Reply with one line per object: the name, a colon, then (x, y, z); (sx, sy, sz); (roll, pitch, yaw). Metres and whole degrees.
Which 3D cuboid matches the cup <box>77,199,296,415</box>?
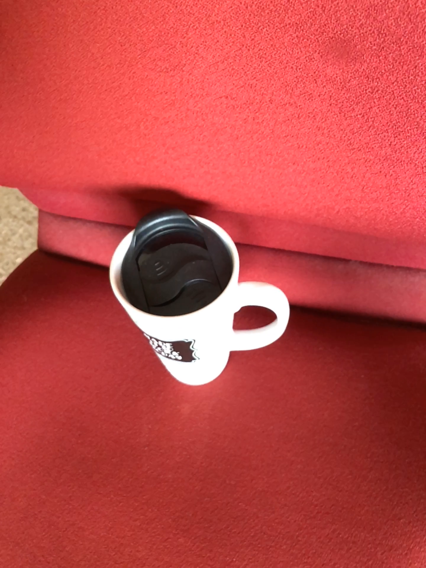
cup: (-0.006, 0.025, 0.377); (0.120, 0.160, 0.080); (13, 63, 19)
